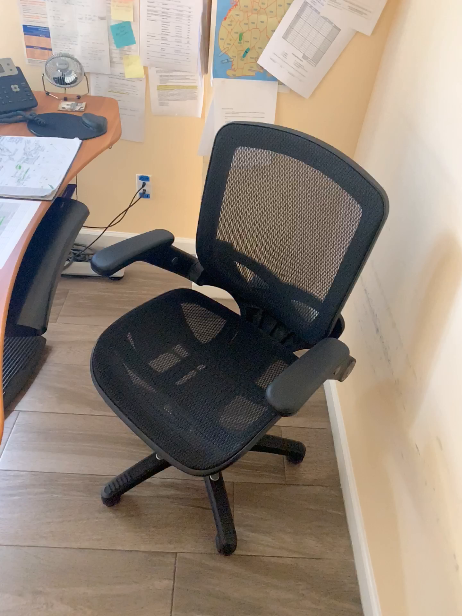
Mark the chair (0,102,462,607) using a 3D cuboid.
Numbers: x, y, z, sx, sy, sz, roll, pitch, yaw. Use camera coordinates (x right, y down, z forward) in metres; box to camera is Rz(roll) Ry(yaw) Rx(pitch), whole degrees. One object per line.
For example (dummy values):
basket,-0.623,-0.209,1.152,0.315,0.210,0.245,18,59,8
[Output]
chair,-0.023,0.087,1.236,0.640,0.868,0.775,34,49,24
